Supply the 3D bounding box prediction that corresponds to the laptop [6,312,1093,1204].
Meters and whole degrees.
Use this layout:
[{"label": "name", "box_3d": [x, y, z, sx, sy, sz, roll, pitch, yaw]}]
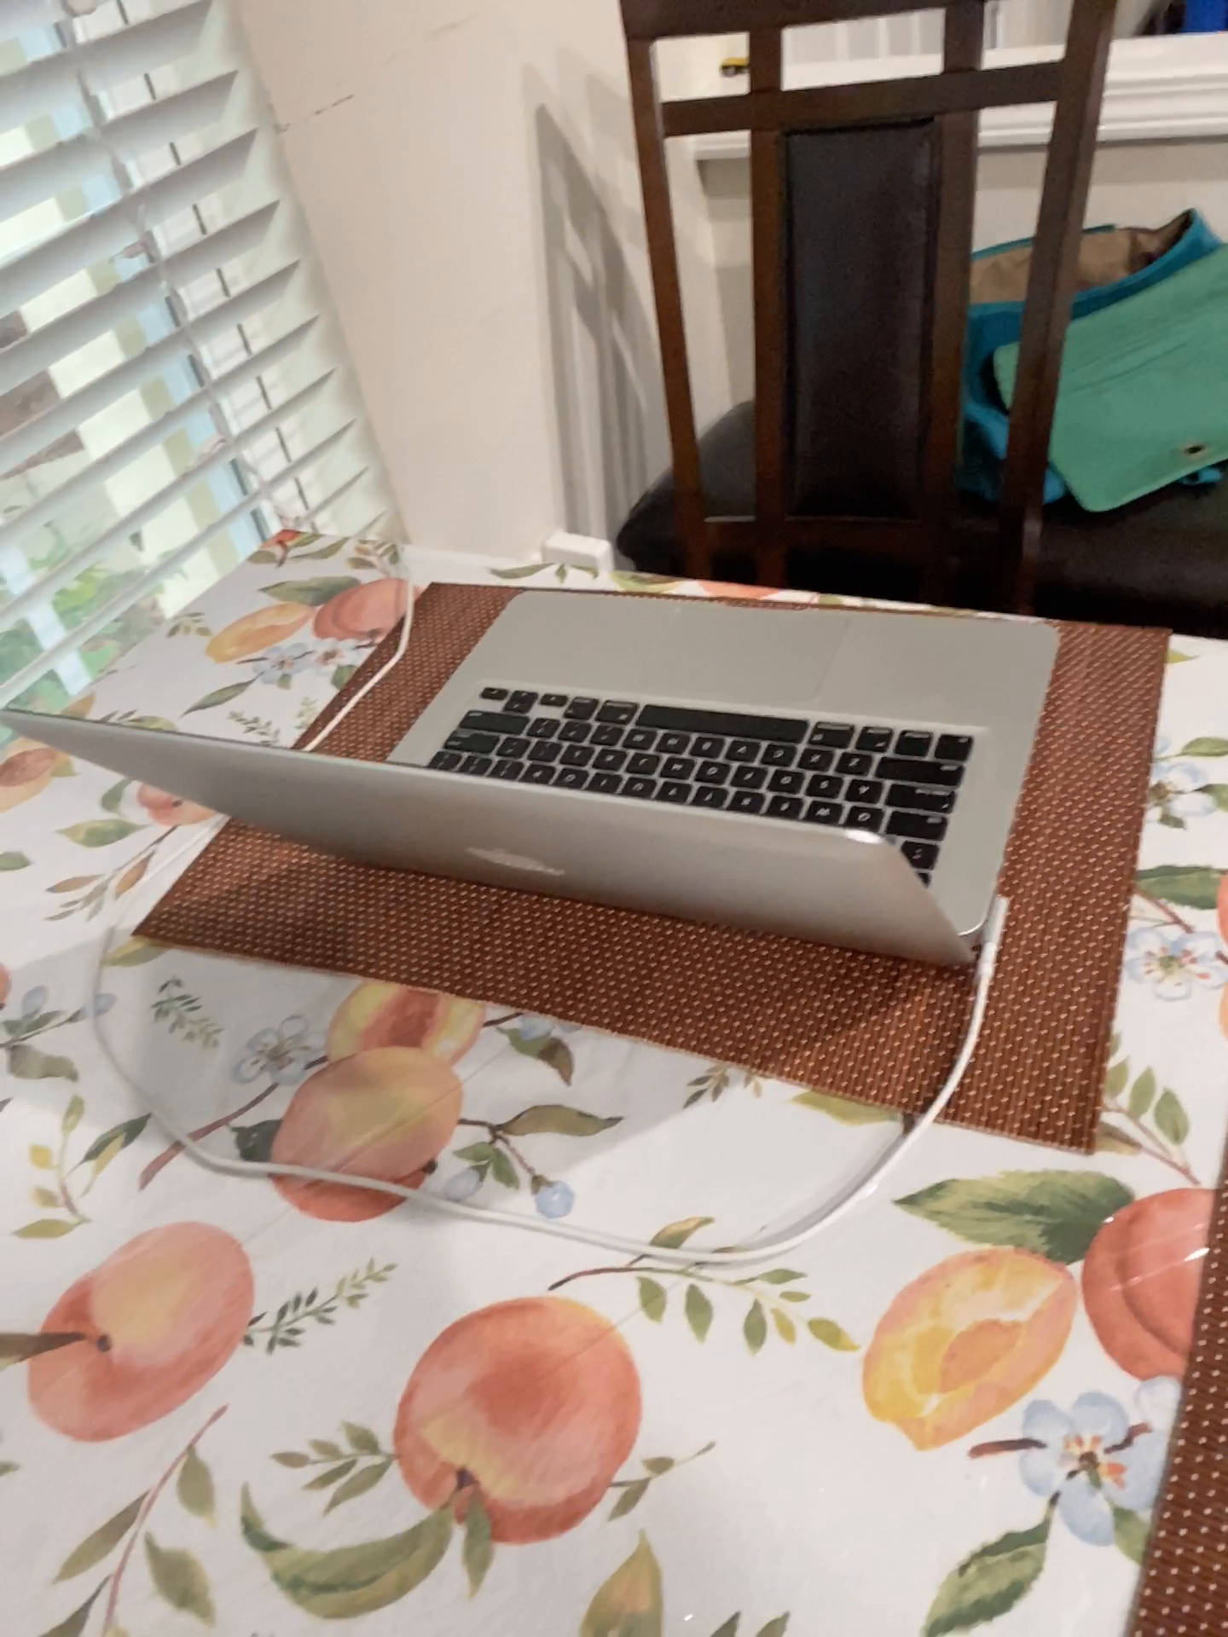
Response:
[{"label": "laptop", "box_3d": [0.011, -0.066, 0.547, 0.317, 0.162, 0.350, 9, 45, 24]}]
